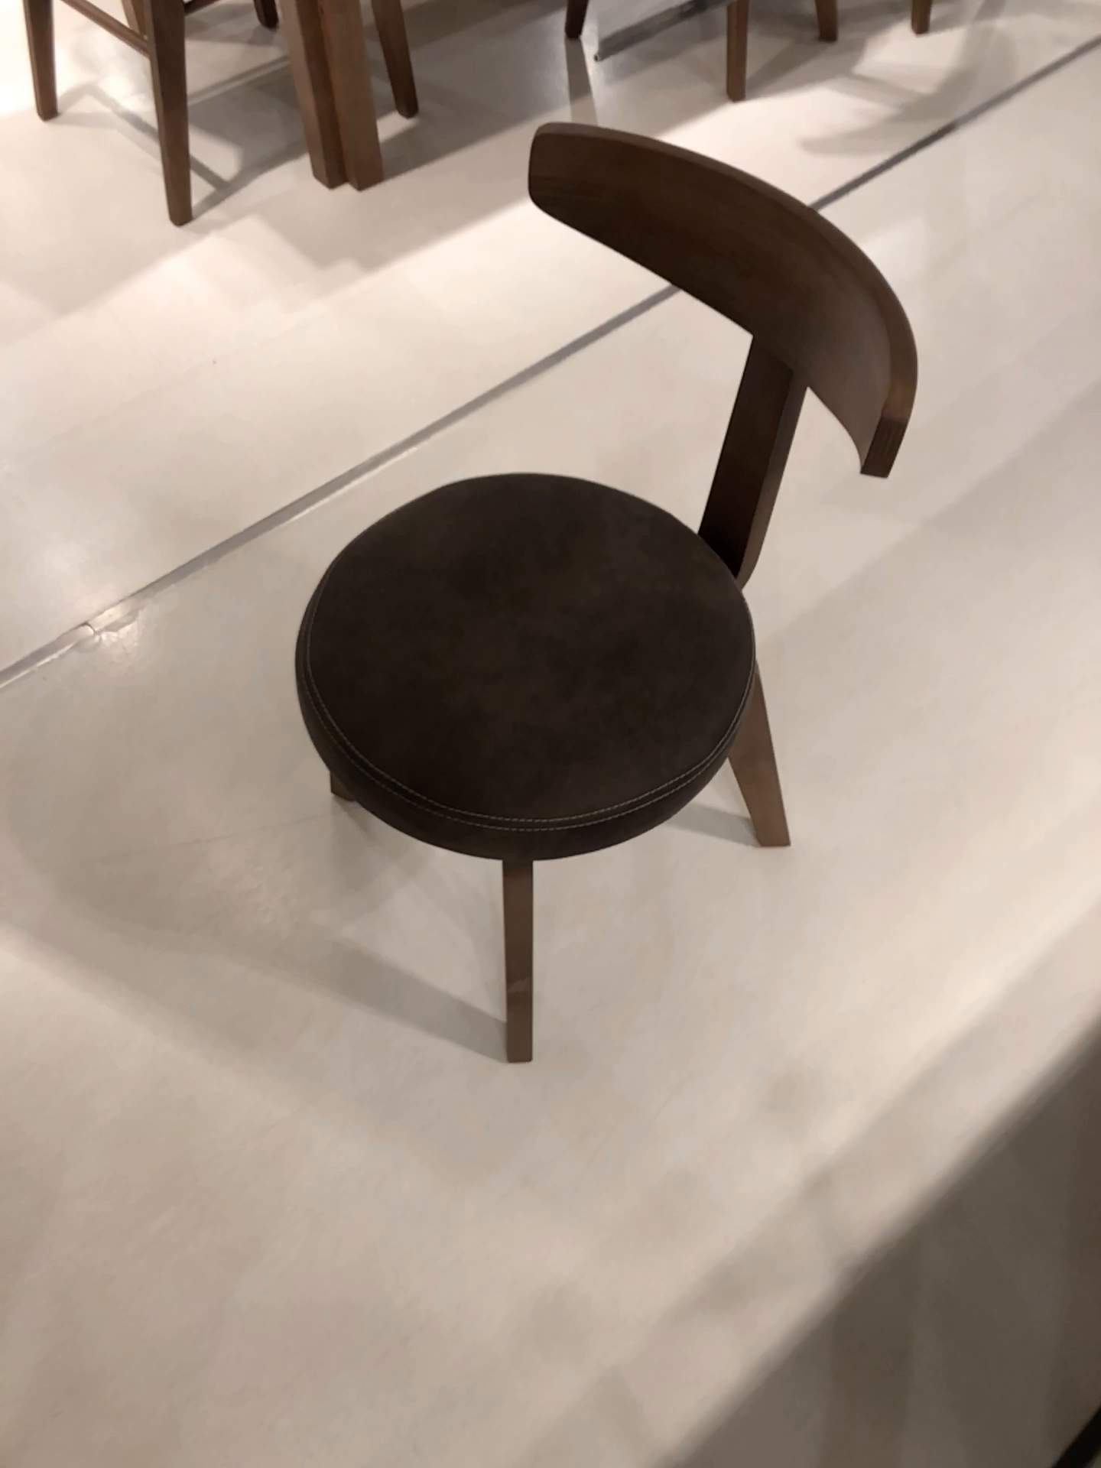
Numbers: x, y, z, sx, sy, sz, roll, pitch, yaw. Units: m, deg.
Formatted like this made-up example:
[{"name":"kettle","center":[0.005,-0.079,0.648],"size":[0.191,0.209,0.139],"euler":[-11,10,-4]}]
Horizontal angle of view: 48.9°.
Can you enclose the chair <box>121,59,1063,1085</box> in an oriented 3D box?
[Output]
[{"name":"chair","center":[0.021,-0.112,1.153],"size":[0.491,0.706,0.472],"euler":[-30,60,-18]}]
